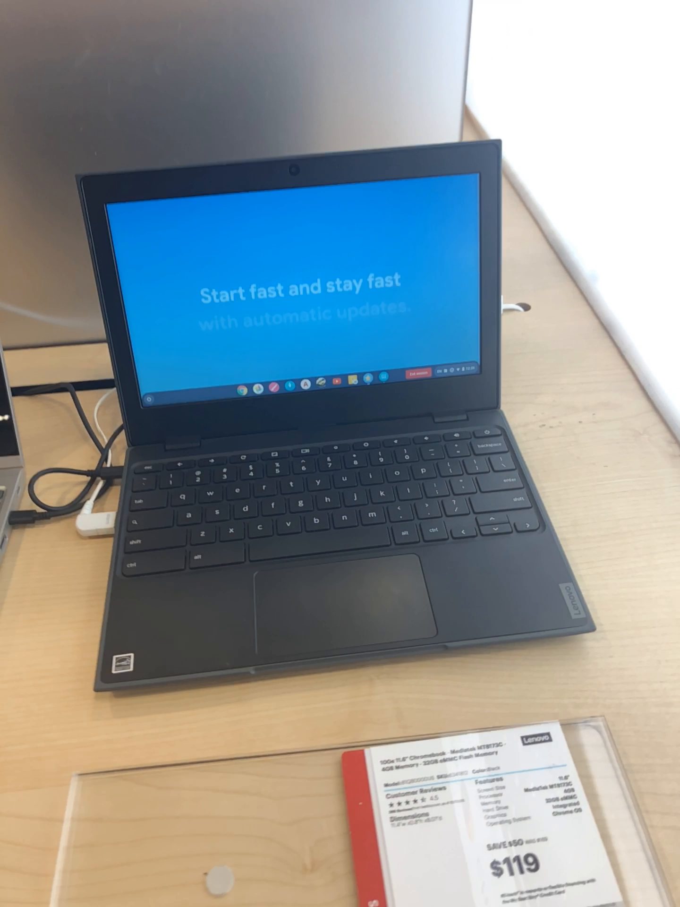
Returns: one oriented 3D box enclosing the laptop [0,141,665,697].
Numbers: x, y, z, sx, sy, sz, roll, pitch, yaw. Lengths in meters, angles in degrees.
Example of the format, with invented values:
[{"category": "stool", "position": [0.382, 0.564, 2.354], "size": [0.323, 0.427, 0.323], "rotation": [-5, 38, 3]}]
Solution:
[{"category": "laptop", "position": [-0.009, -0.041, 0.468], "size": [0.281, 0.178, 0.272], "rotation": [-6, 42, -3]}]
